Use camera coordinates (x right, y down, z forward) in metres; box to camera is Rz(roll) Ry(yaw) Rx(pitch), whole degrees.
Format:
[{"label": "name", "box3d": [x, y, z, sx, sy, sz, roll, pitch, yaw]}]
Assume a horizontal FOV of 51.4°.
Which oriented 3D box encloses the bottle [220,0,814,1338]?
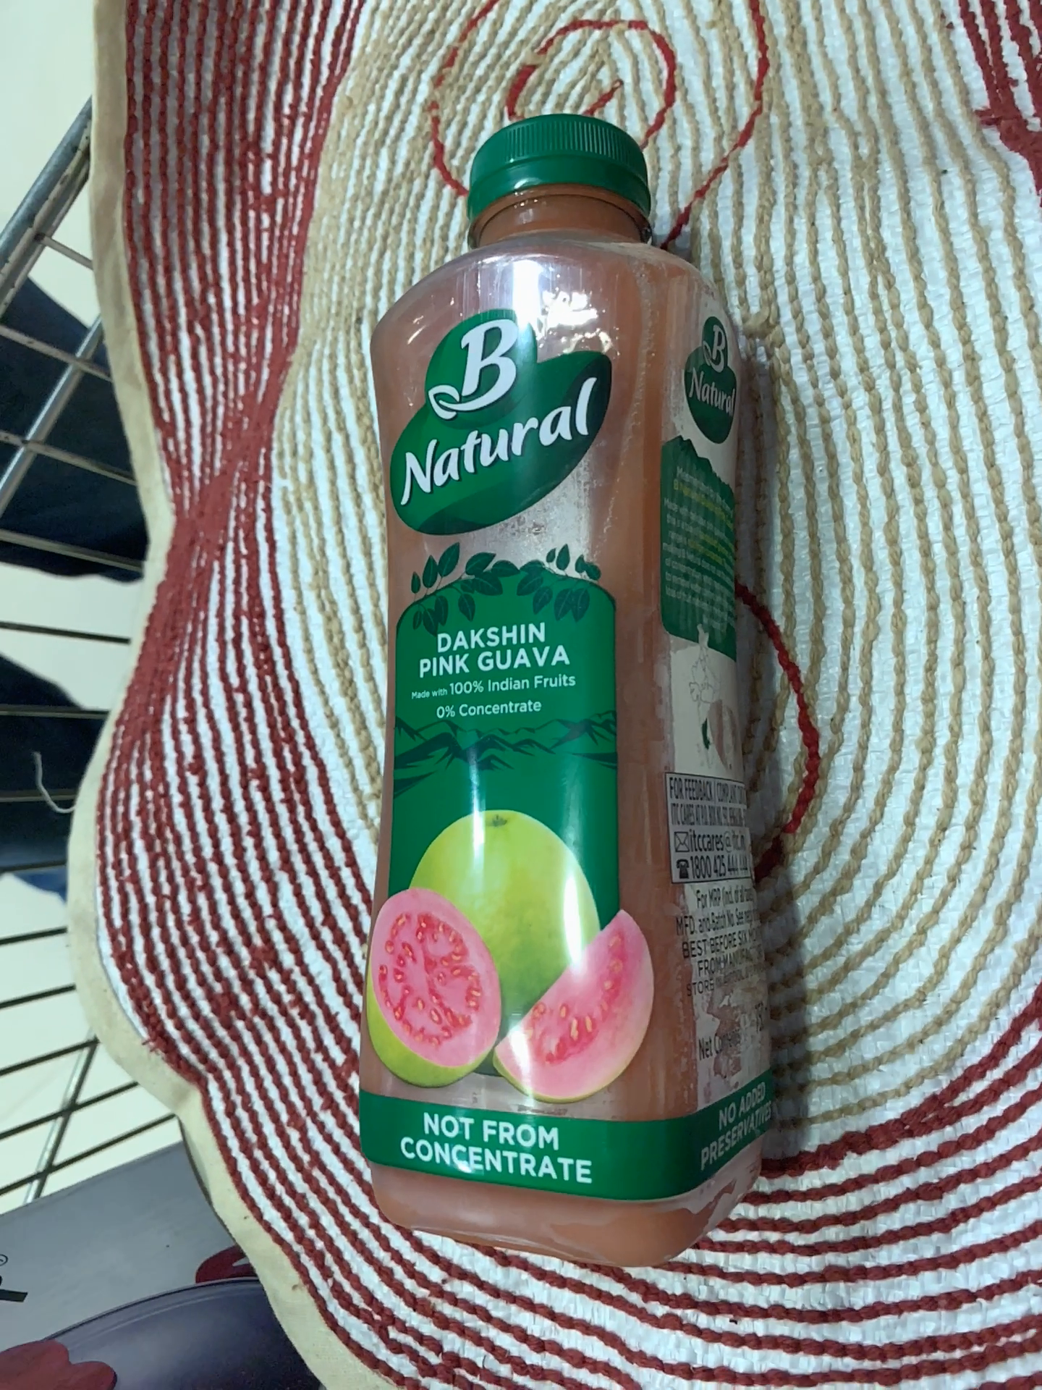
[{"label": "bottle", "box3d": [0.002, -0.018, 0.194, 0.080, 0.060, 0.210, -4, 81, 28]}]
